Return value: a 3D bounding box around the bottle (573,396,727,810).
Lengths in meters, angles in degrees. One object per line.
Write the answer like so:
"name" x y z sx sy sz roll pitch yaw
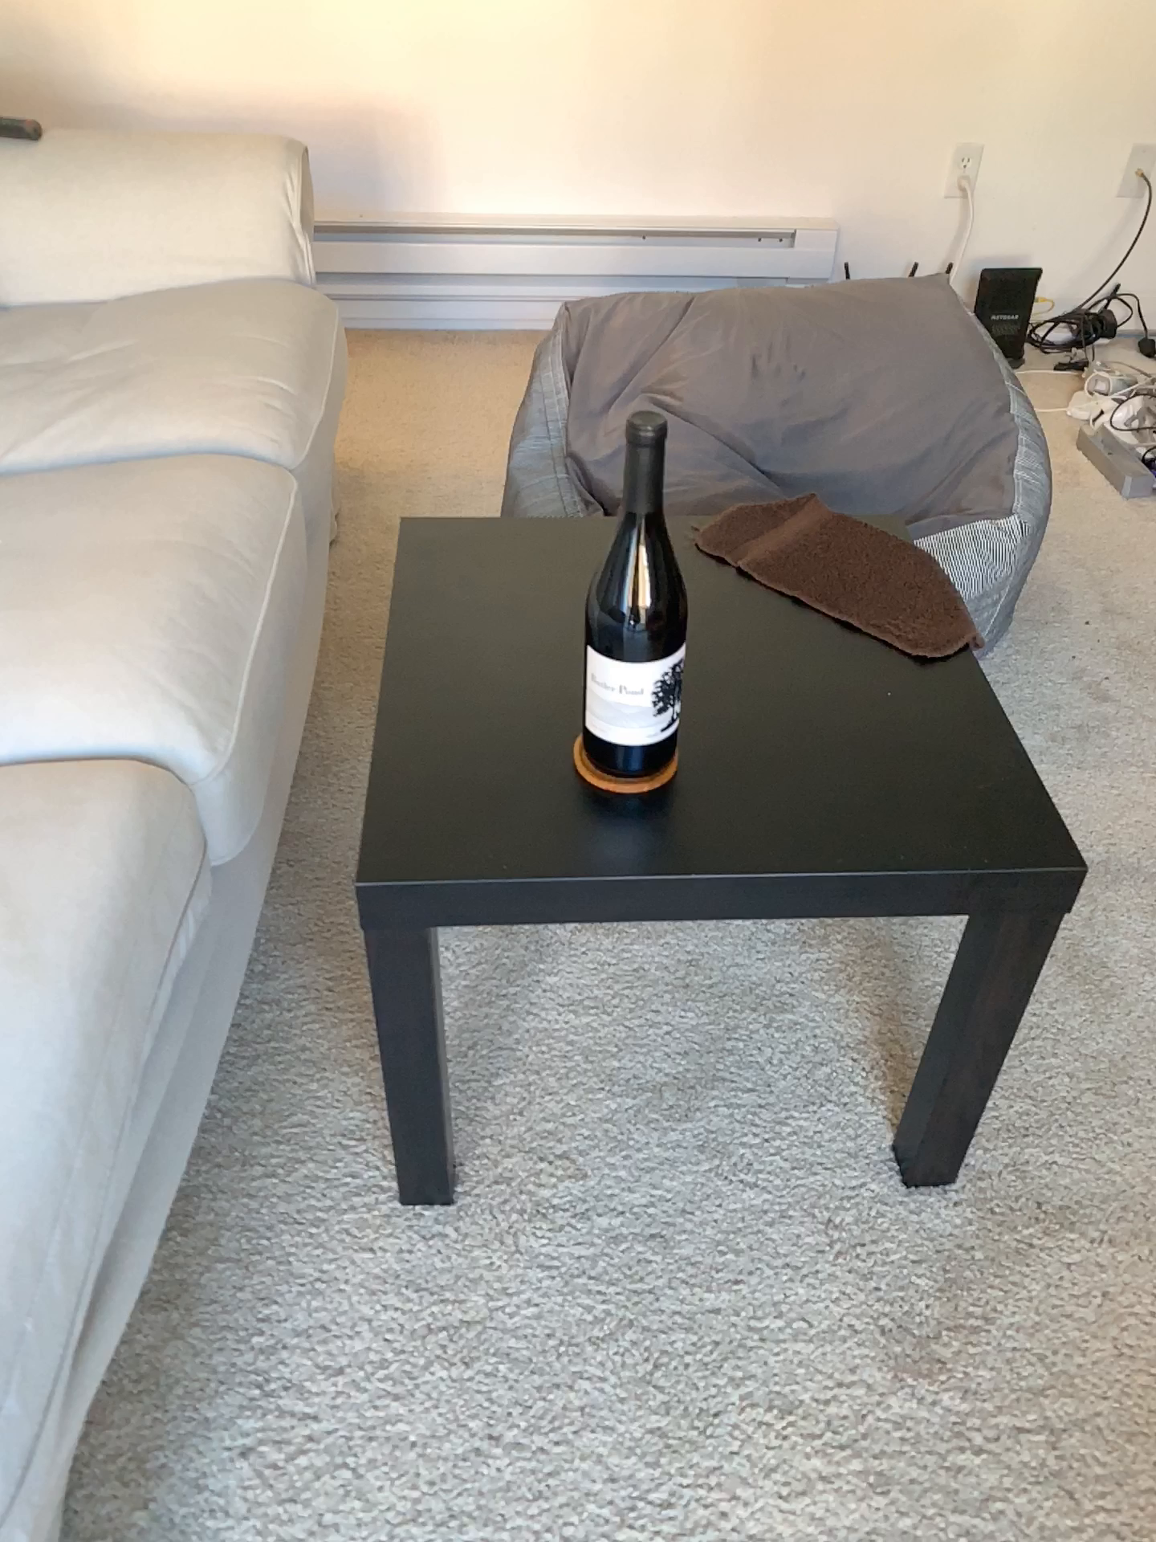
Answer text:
"bottle" 0.042 -0.108 0.815 0.080 0.268 0.101 1 40 -2
